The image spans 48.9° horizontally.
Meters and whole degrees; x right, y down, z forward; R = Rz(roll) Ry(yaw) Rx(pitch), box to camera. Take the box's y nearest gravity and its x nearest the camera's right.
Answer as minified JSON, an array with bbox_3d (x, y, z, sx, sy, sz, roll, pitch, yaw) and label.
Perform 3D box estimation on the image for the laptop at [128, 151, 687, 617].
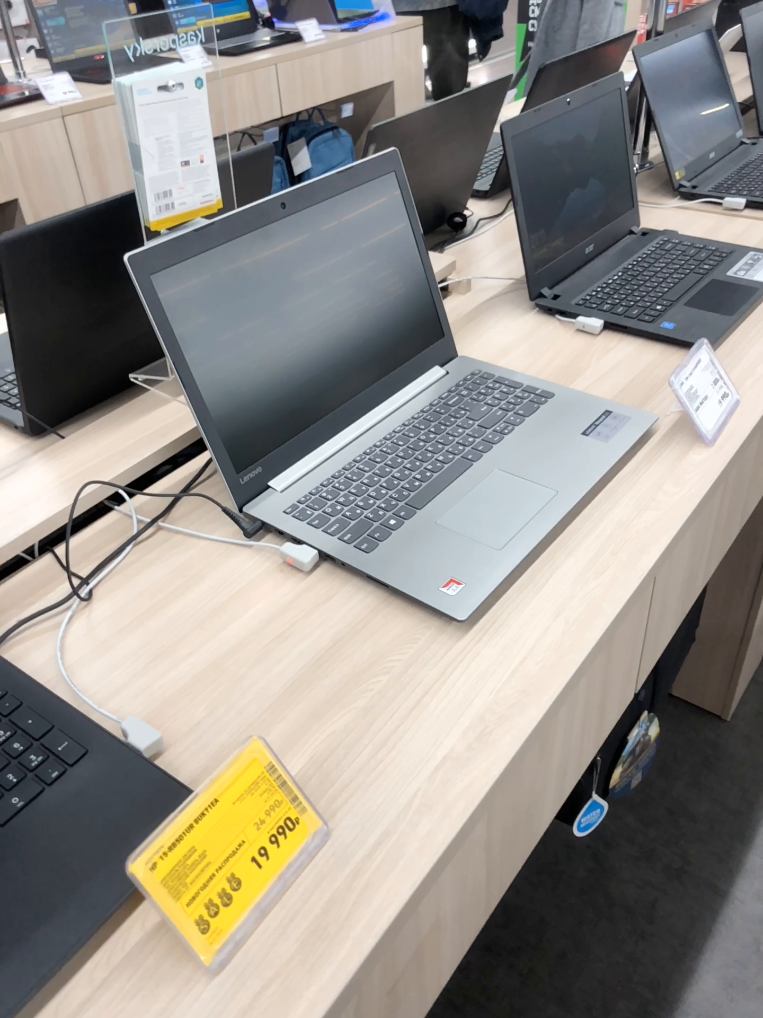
[{"bbox_3d":[0.040,-0.160,0.819,0.344,0.235,0.381,23,44,31],"label":"laptop"}]
